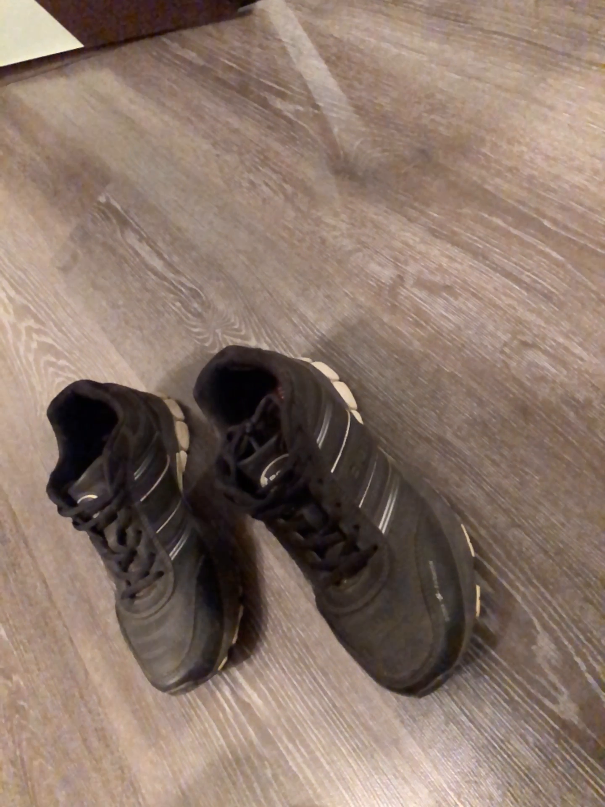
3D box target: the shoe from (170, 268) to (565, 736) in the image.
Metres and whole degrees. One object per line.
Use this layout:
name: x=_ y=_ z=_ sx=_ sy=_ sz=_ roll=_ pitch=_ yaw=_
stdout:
shoe: x=0.028 y=0.052 z=0.427 sx=0.110 sy=0.100 sz=0.261 roll=-40 pitch=55 yaw=14

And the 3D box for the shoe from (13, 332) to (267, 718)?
shoe: x=-0.130 y=0.083 z=0.496 sx=0.100 sy=0.090 sz=0.251 roll=-36 pitch=56 yaw=17
